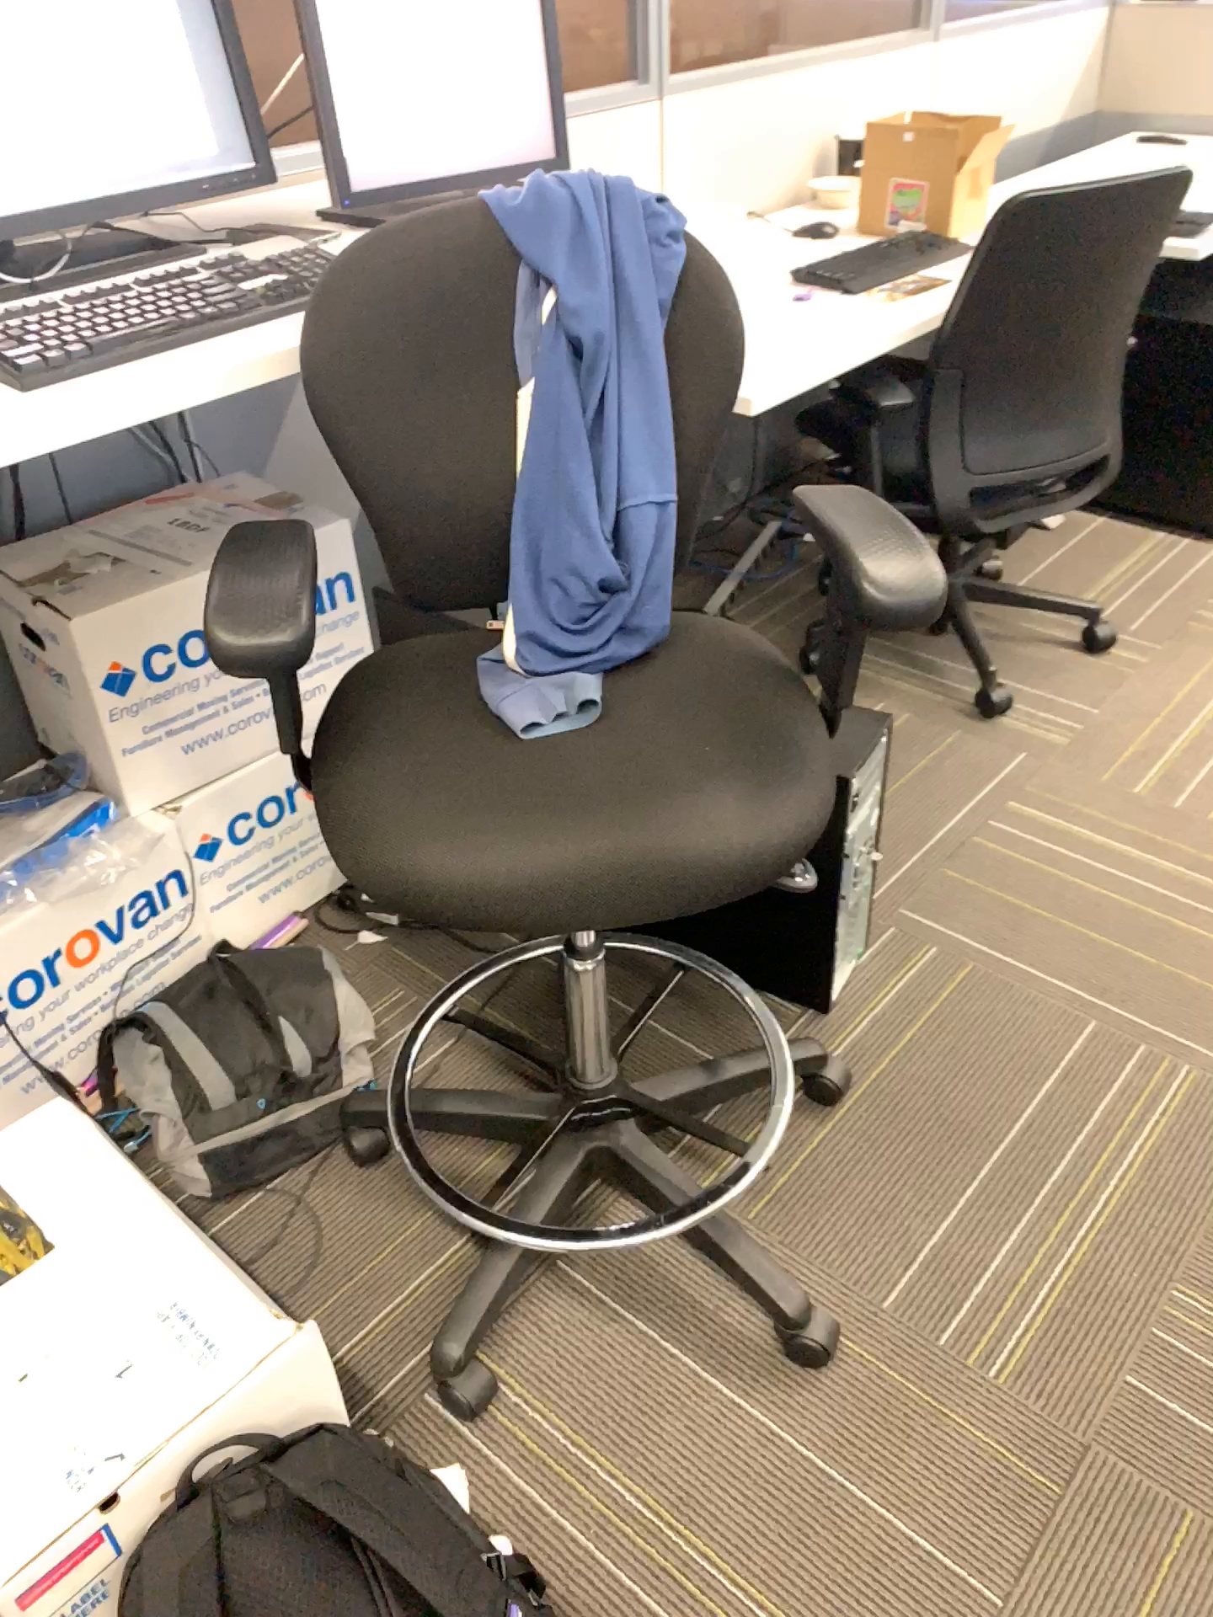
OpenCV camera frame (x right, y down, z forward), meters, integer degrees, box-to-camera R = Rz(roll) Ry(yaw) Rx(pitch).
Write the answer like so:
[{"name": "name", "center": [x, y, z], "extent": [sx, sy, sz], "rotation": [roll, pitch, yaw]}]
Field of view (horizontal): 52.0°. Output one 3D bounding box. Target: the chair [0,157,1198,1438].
[{"name": "chair", "center": [-0.035, -0.033, 1.359], "extent": [0.740, 1.063, 0.845], "rotation": [-3, 36, -2]}]
